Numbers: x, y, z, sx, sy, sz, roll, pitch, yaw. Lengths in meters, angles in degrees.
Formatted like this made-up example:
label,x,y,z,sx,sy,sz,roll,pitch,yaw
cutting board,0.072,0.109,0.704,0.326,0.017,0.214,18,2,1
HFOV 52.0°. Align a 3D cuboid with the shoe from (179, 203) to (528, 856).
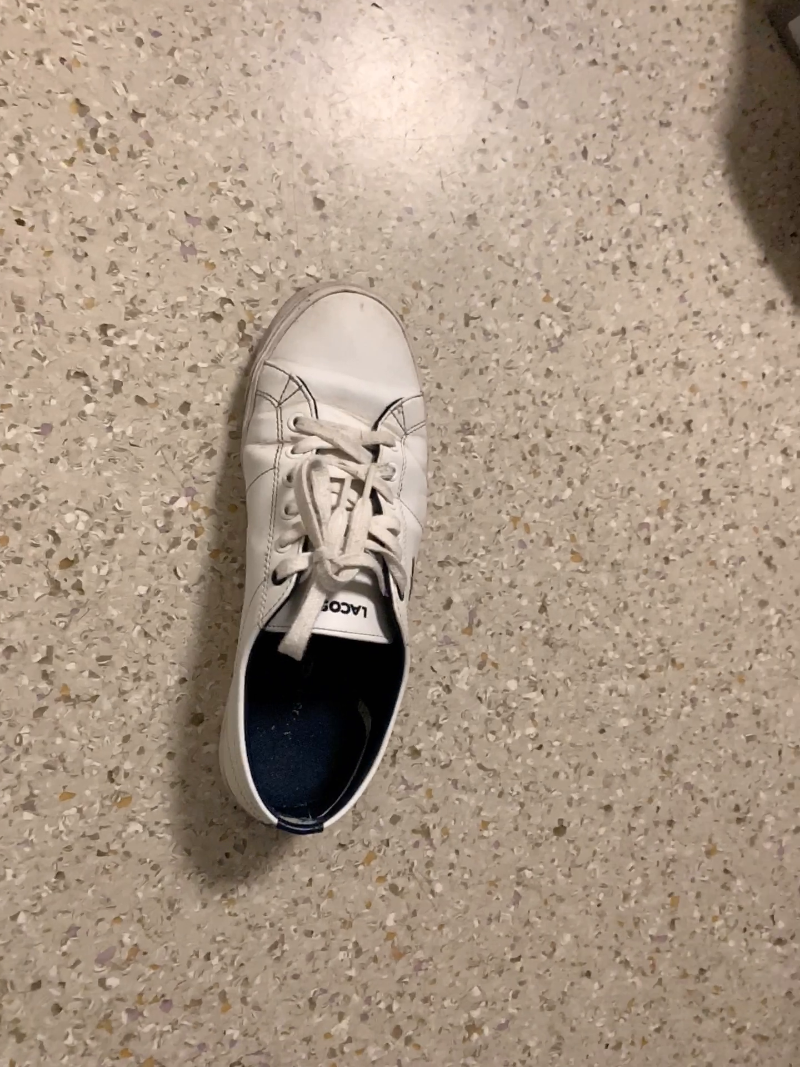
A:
label,x,y,z,sx,sy,sz,roll,pitch,yaw
shoe,-0.025,0.002,0.373,0.100,0.090,0.250,10,87,-19
